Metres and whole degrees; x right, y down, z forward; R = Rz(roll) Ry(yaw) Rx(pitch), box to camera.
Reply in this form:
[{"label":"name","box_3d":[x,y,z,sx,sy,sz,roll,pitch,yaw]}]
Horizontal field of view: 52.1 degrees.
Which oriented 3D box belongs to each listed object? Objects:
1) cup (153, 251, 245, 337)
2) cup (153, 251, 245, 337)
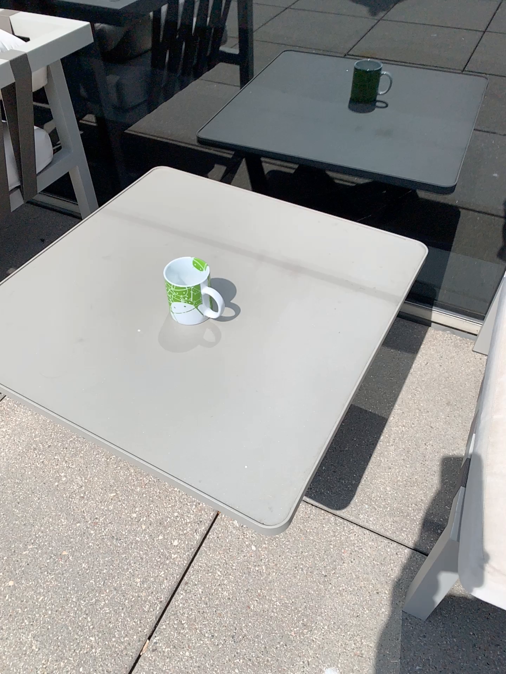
[{"label":"cup","box_3d":[-0.091,-0.076,0.901,0.130,0.090,0.080,17,50,16]},{"label":"cup","box_3d":[-0.091,-0.076,0.901,0.130,0.090,0.080,17,50,16]}]
